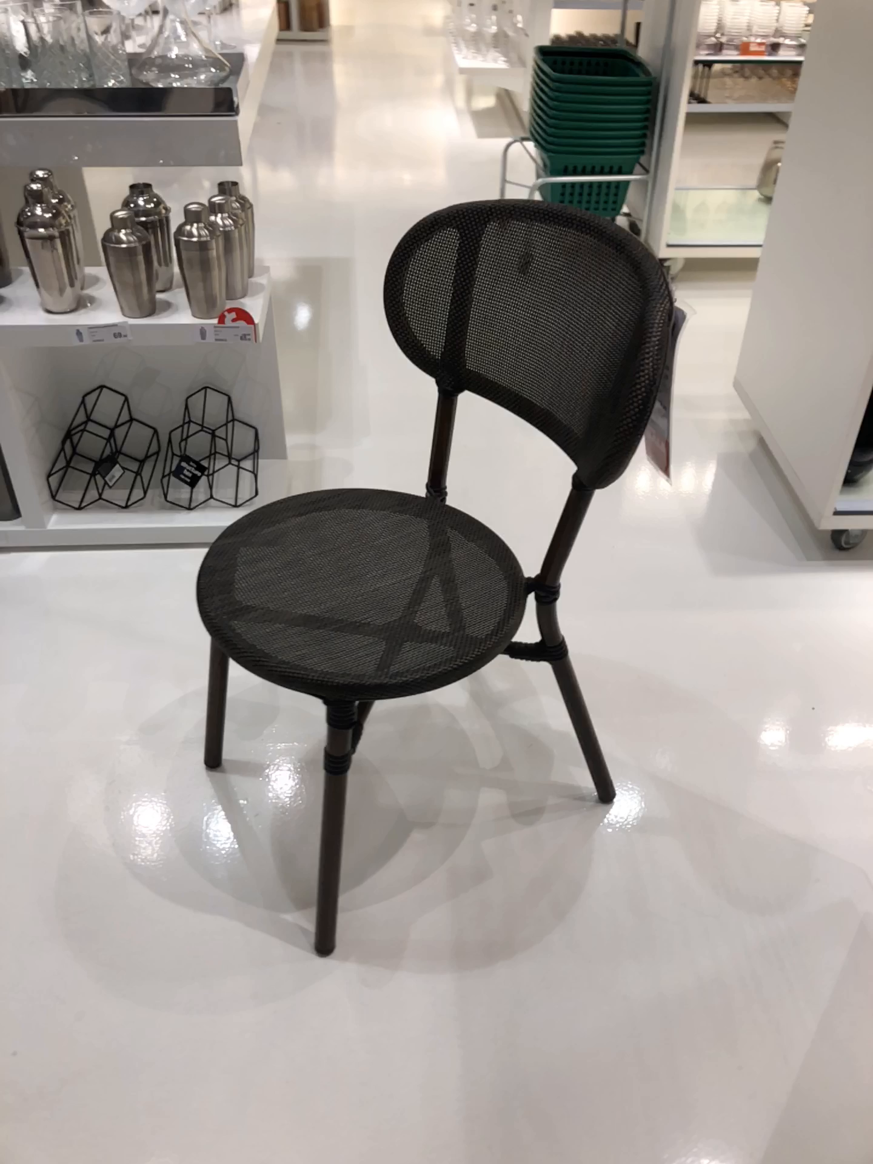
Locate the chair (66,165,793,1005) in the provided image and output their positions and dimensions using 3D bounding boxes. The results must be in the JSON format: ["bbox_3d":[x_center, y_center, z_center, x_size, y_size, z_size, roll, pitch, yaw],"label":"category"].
[{"bbox_3d":[-0.024,-0.015,1.180,0.551,0.764,0.473,-21,43,-26],"label":"chair"}]
